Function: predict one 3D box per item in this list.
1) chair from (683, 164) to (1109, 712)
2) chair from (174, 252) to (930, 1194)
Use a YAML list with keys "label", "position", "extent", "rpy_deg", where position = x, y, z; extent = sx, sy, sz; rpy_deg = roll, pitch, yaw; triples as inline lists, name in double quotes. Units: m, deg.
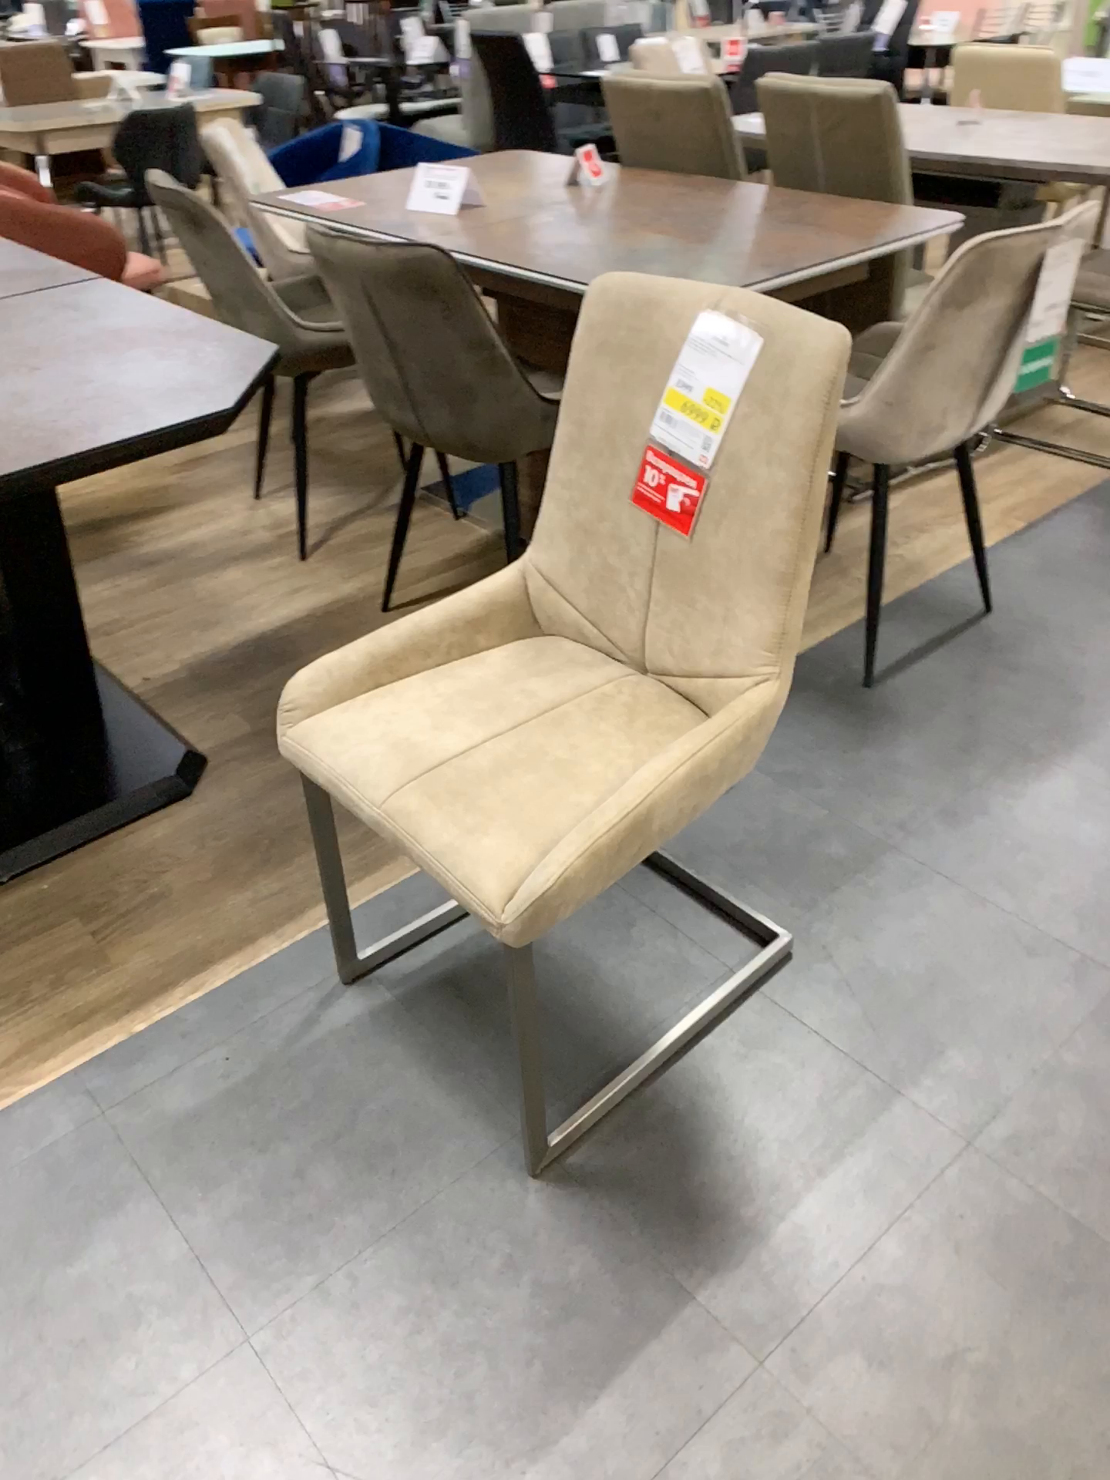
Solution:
- label: "chair"
  position: [0.658, -0.624, 2.269]
  extent: [0.481, 0.842, 0.625]
  rpy_deg: [-27, 41, -31]
- label: "chair"
  position: [0.012, -0.050, 1.413]
  extent: [0.585, 0.887, 0.511]
  rpy_deg: [-28, 42, -33]
